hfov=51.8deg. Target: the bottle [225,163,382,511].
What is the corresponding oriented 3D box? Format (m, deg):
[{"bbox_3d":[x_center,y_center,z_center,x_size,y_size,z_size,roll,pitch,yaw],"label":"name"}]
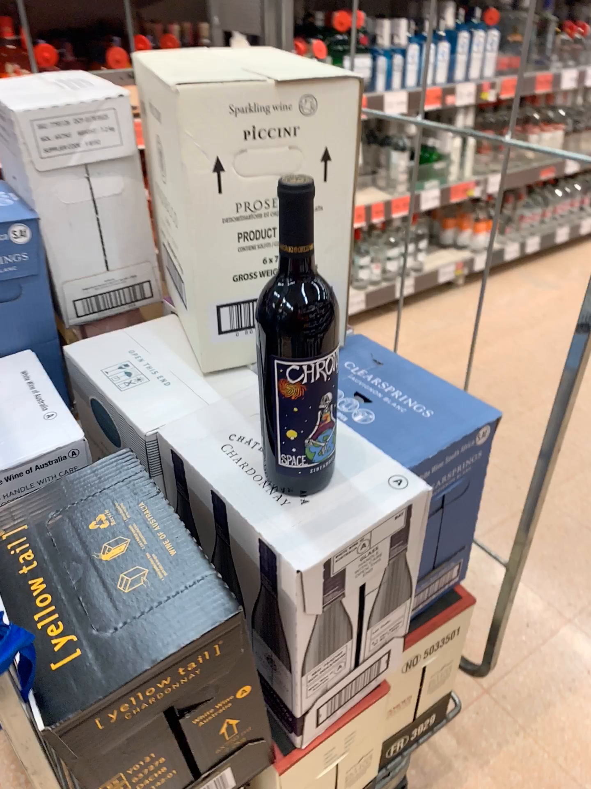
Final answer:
[{"bbox_3d":[0.006,-0.043,0.543,0.086,0.284,0.085,0,33,0],"label":"bottle"}]
